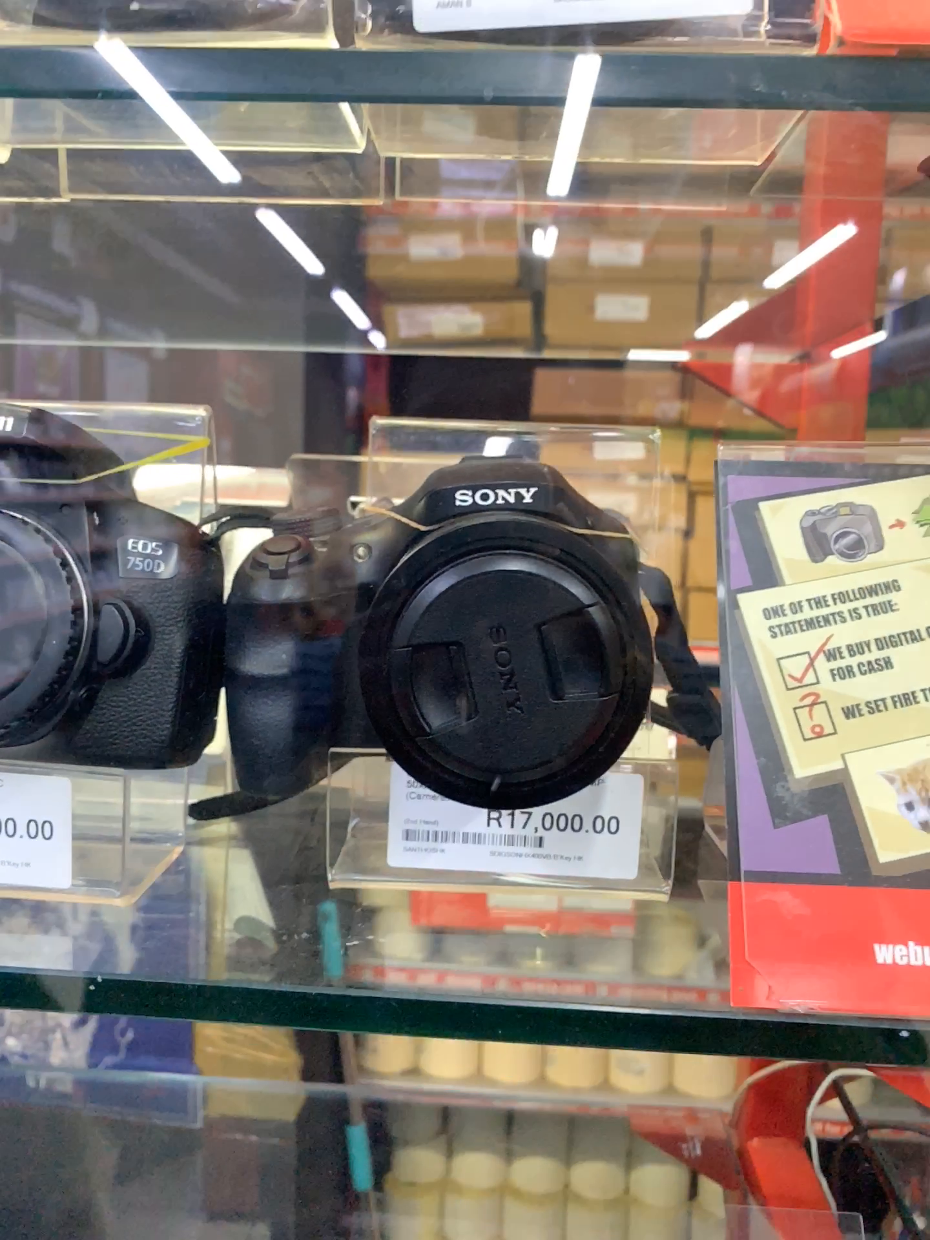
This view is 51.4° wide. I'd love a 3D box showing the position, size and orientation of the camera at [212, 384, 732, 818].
[{"bbox_3d":[-0.001,-0.009,0.274,0.120,0.100,0.090,2,7,-2],"label":"camera"}]
